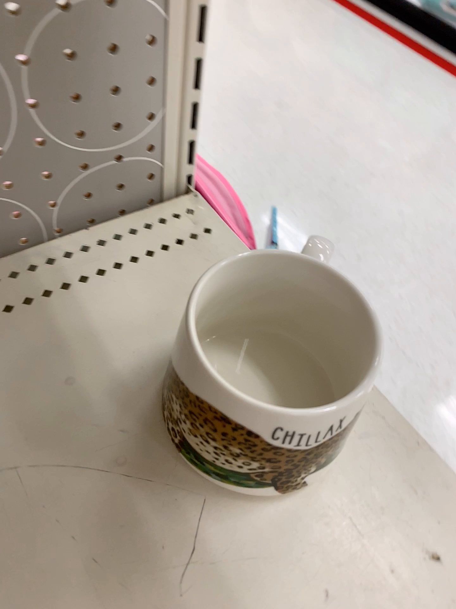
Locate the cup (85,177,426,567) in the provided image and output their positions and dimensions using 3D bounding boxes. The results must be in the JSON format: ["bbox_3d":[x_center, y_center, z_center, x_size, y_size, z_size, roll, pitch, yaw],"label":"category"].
[{"bbox_3d":[0.019,0.029,0.239,0.110,0.090,0.140,21,53,7],"label":"cup"}]
